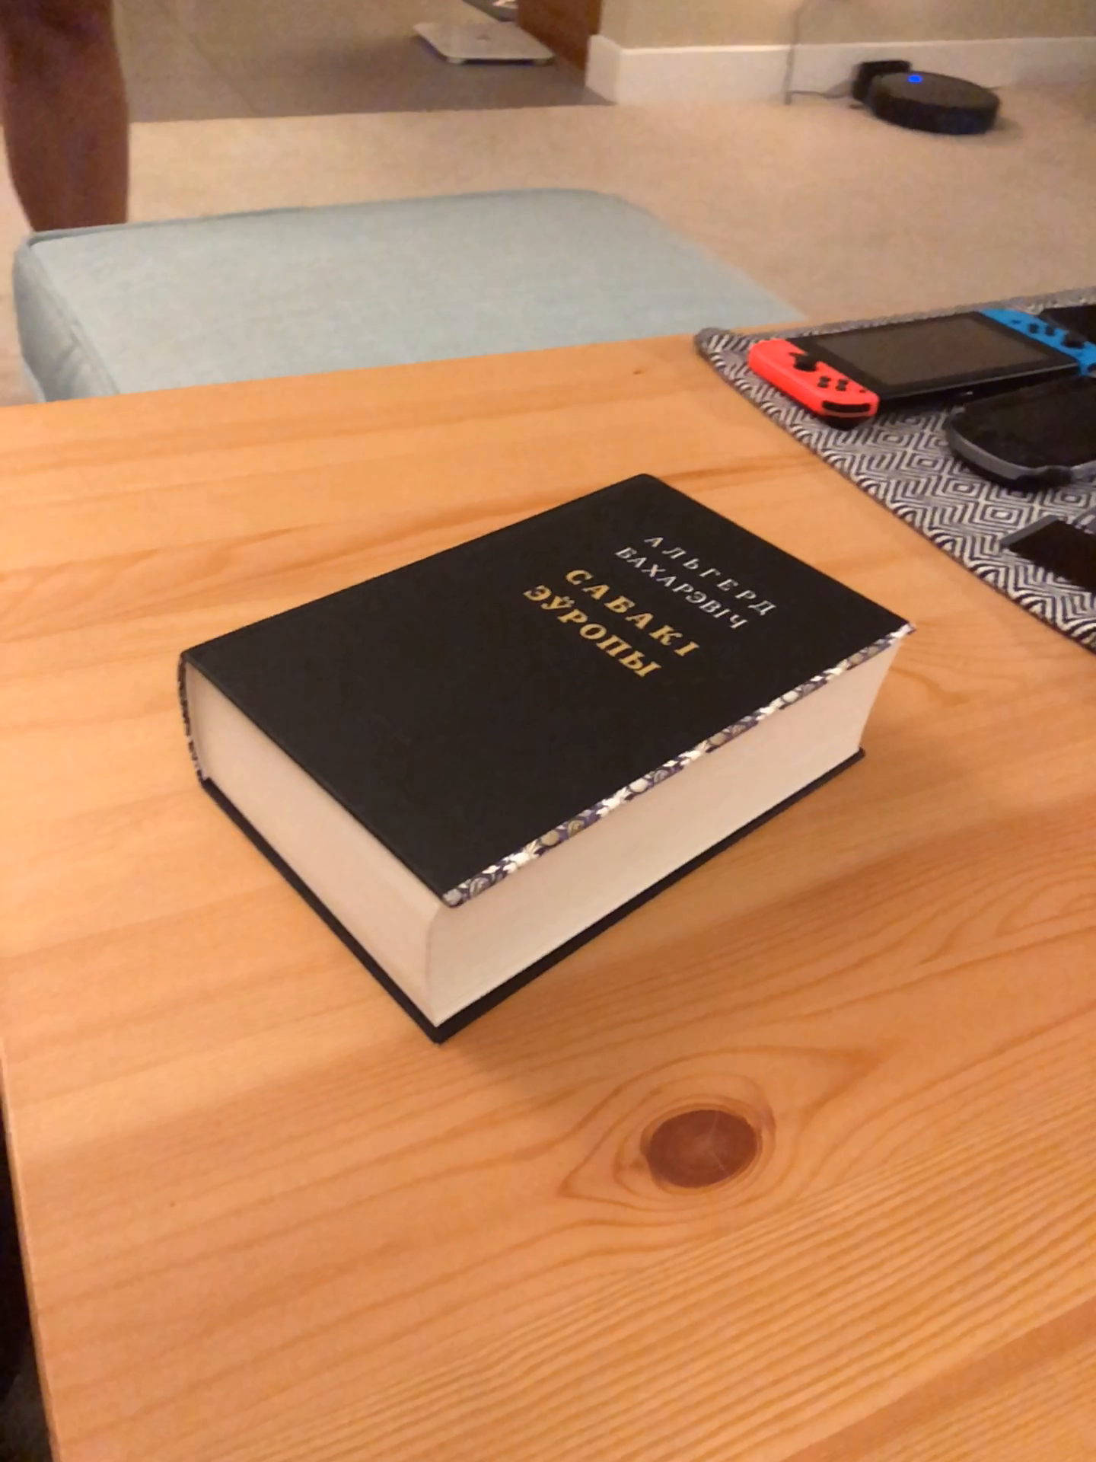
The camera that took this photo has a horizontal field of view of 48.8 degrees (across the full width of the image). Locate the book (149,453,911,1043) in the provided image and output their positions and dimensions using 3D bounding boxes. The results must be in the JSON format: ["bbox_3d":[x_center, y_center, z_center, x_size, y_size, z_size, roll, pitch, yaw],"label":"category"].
[{"bbox_3d":[-0.002,-0.014,0.457,0.230,0.061,0.157,-29,50,-32],"label":"book"}]
